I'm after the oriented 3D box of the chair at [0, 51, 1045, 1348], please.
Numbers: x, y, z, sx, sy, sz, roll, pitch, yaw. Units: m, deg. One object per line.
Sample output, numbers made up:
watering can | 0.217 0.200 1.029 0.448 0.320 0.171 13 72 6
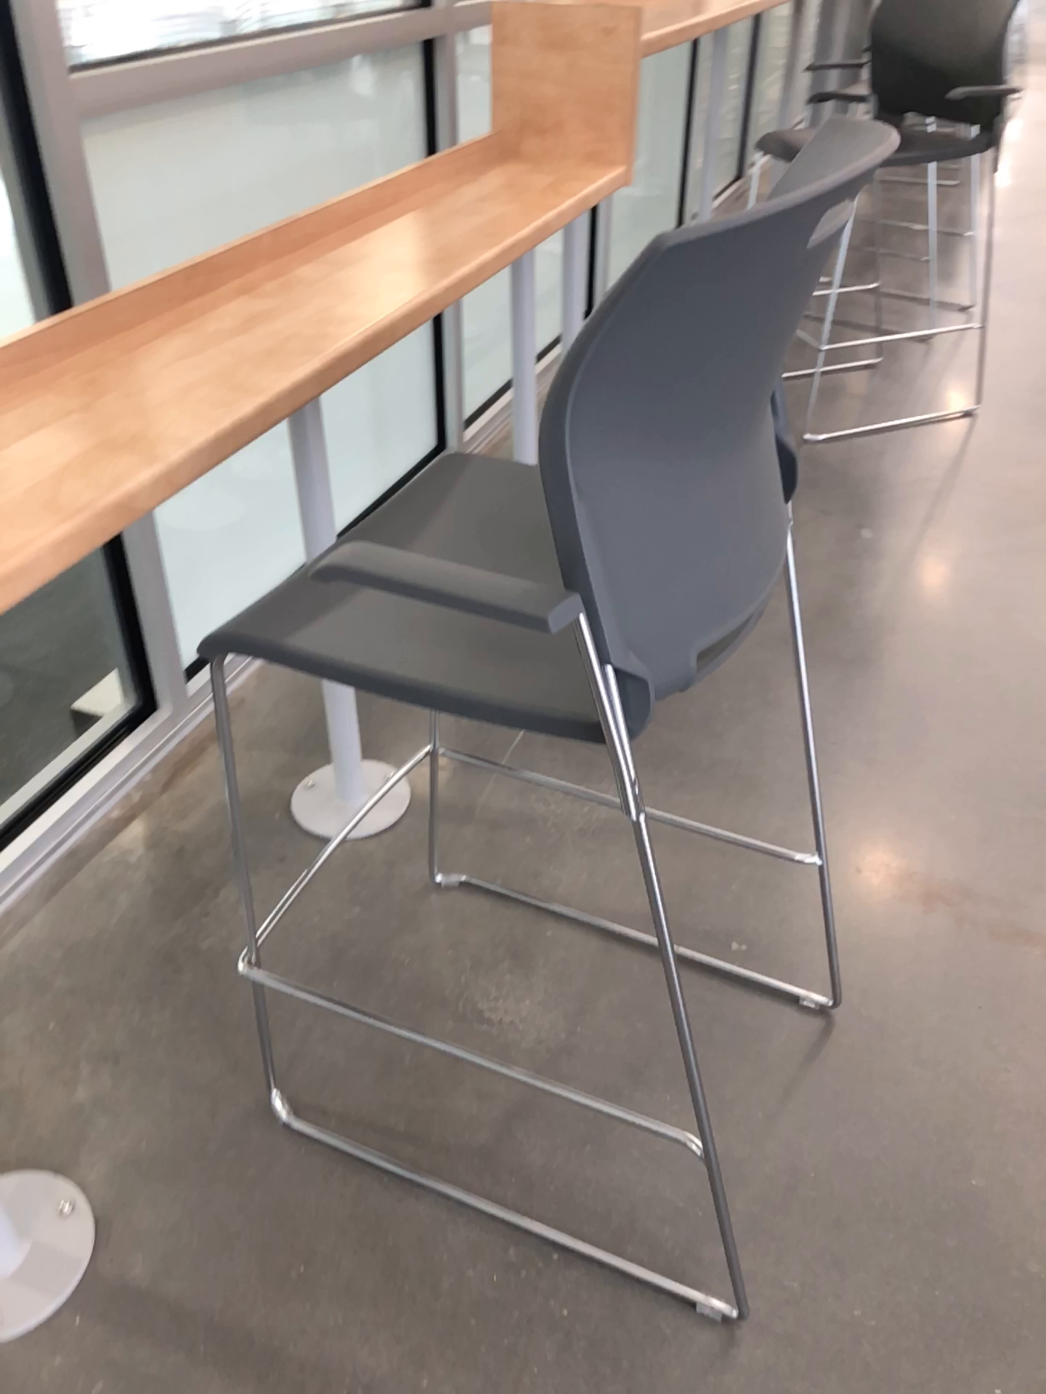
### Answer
chair | 0.057 -0.014 1.190 0.661 1.072 0.604 14 37 18
